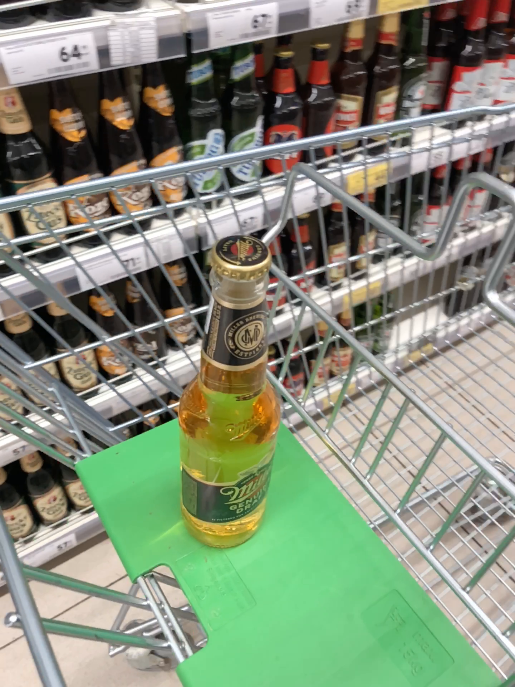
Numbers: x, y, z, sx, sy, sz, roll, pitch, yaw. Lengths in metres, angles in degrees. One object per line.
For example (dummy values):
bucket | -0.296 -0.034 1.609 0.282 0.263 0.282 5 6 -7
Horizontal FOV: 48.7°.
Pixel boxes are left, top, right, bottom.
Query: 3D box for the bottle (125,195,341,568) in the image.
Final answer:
bottle | -0.014 0.034 0.322 0.070 0.209 0.070 1 44 -1
